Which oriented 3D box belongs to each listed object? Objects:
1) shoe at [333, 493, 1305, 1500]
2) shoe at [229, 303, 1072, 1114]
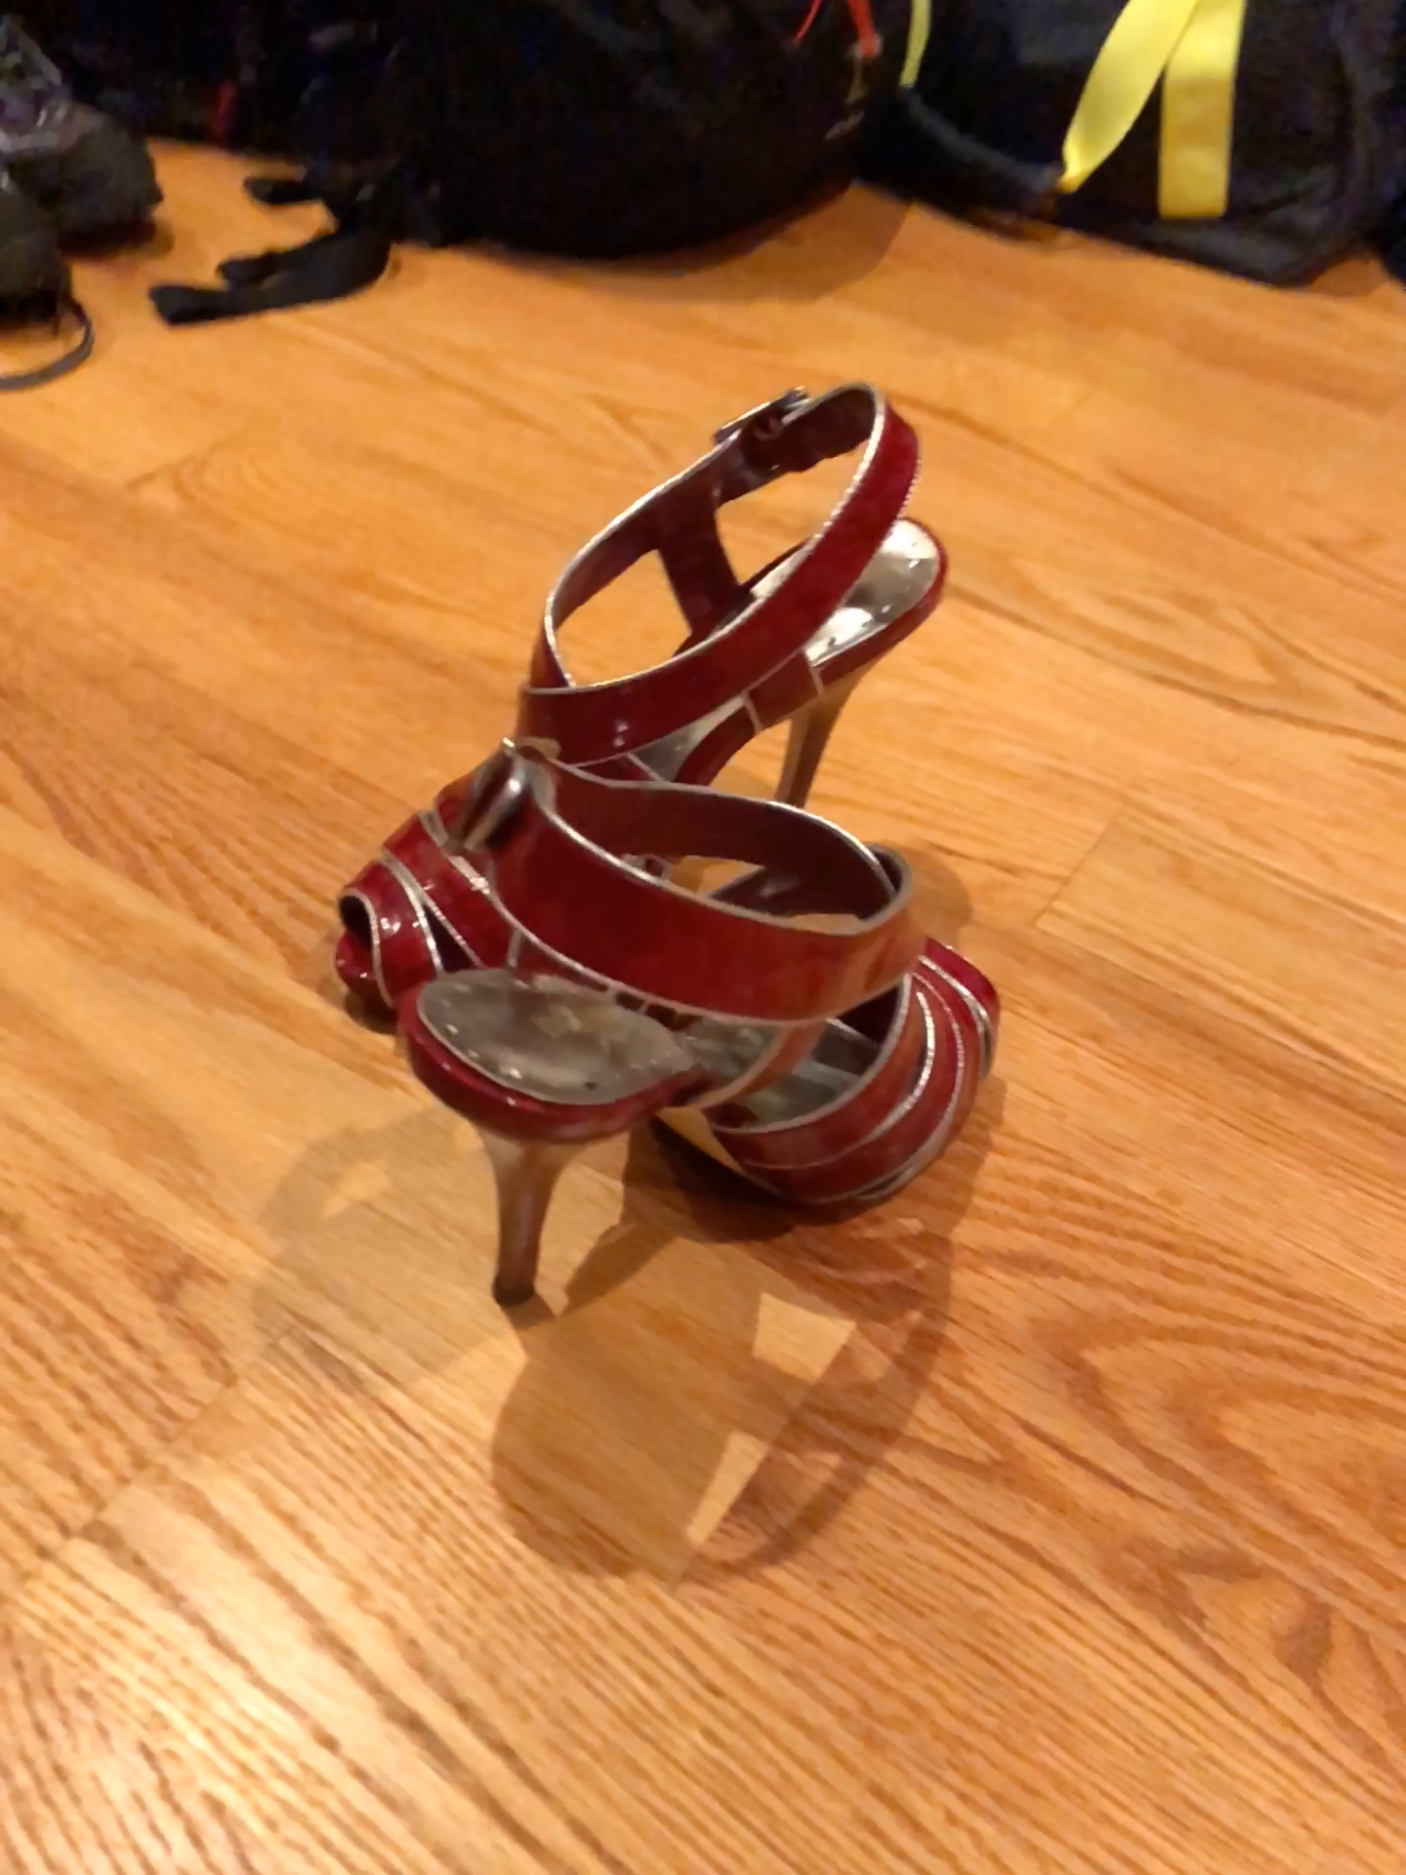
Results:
[{"bbox_3d":[0.026,0.004,0.362,0.194,0.141,0.092,-30,54,-34],"label":"shoe"},{"bbox_3d":[-0.013,-0.072,0.439,0.199,0.151,0.092,-26,52,-32],"label":"shoe"}]
